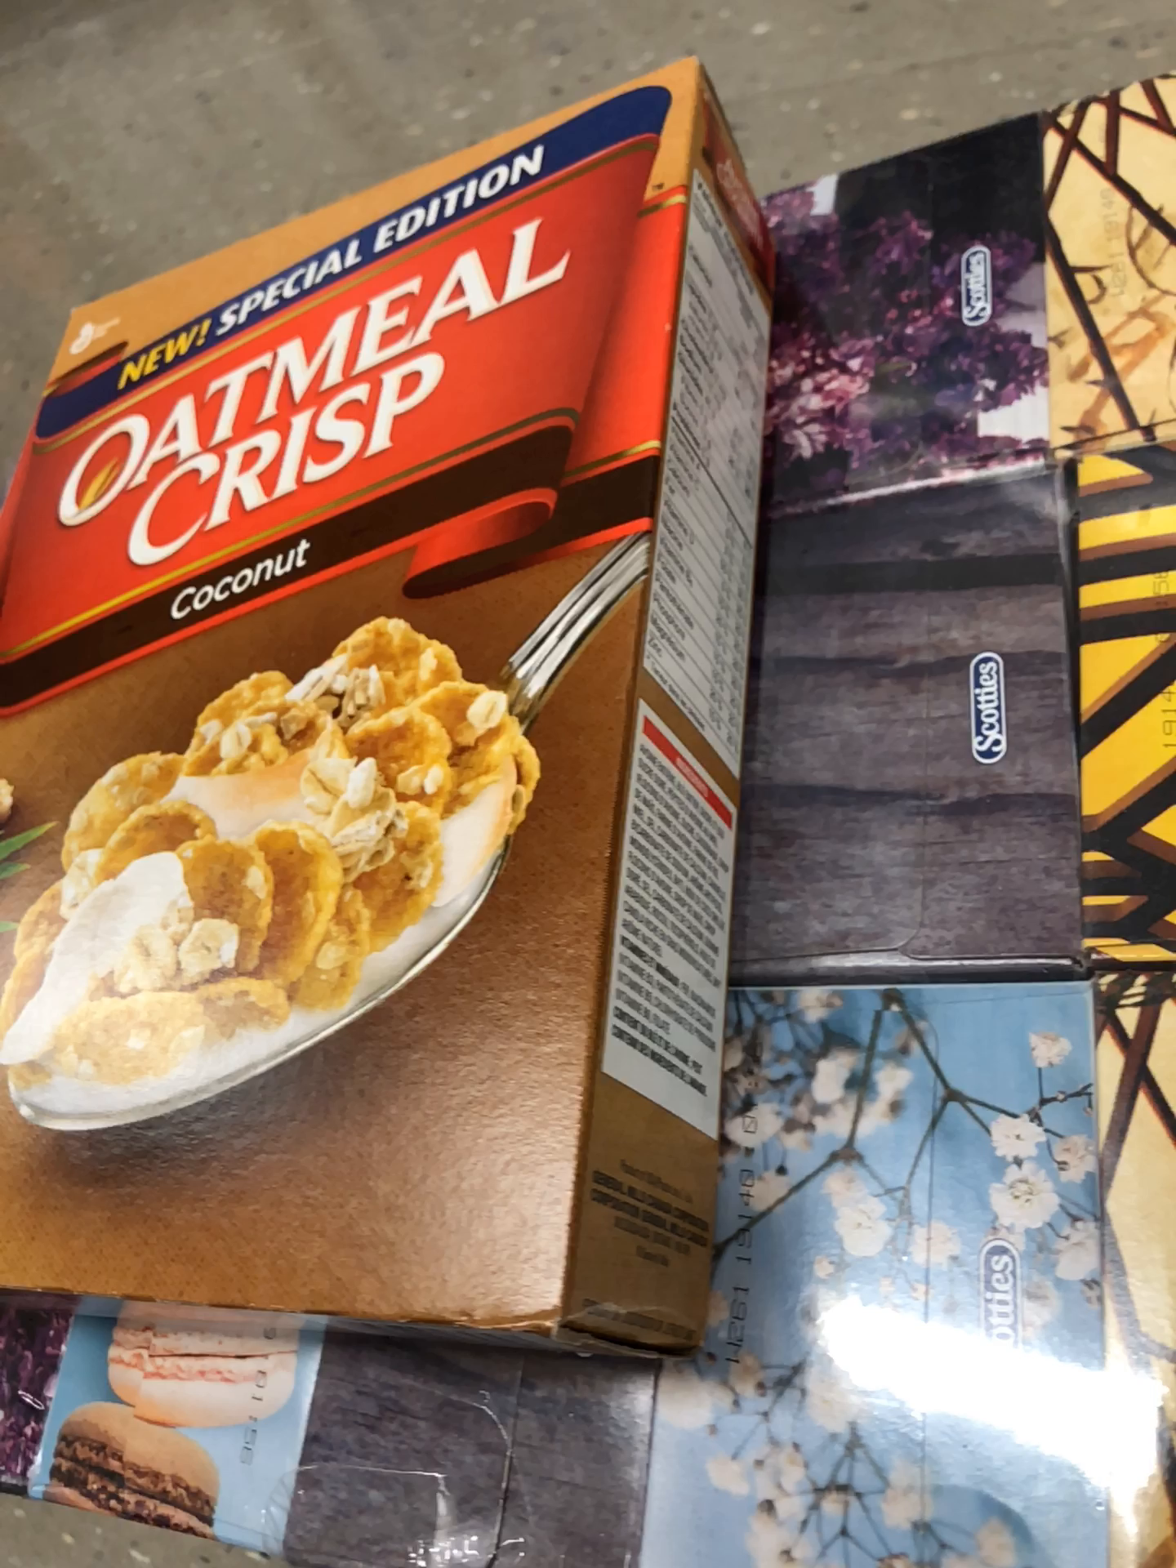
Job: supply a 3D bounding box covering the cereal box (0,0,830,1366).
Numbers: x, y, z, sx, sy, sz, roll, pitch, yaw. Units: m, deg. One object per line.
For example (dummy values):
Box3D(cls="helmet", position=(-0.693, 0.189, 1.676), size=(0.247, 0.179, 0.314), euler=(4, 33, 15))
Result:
Box3D(cls="cereal box", position=(-0.063, -0.038, 0.297), size=(0.211, 0.060, 0.290), euler=(-10, 56, 31))
